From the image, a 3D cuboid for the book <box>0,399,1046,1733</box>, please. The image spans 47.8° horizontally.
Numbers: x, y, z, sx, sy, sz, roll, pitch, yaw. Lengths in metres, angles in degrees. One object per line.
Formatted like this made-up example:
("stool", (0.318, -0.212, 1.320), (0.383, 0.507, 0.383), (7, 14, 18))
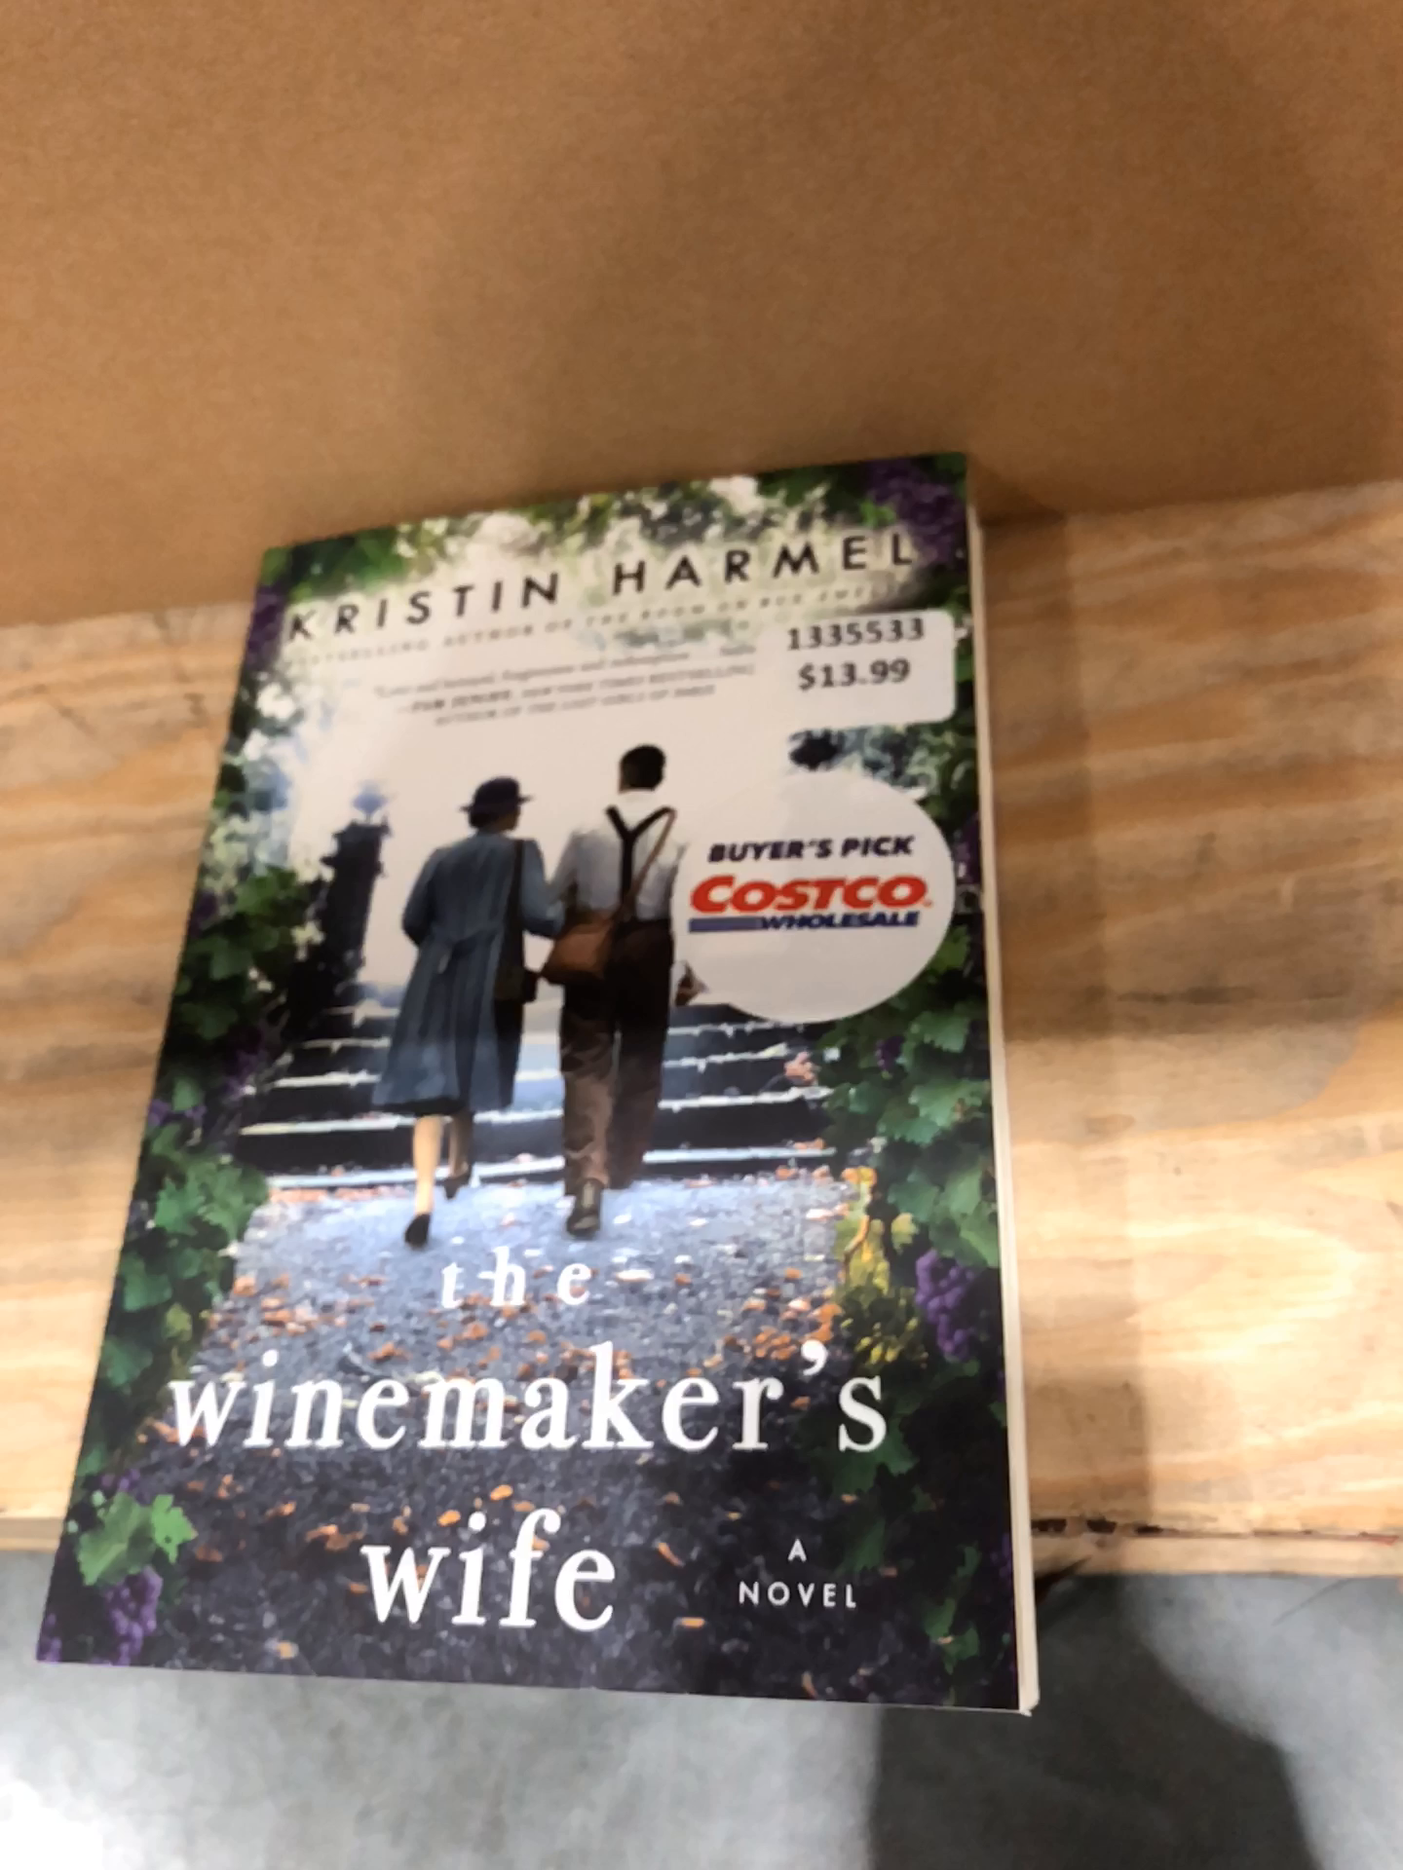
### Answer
("book", (-0.024, 0.010, 0.284), (0.154, 0.035, 0.229), (-5, 59, 15))
